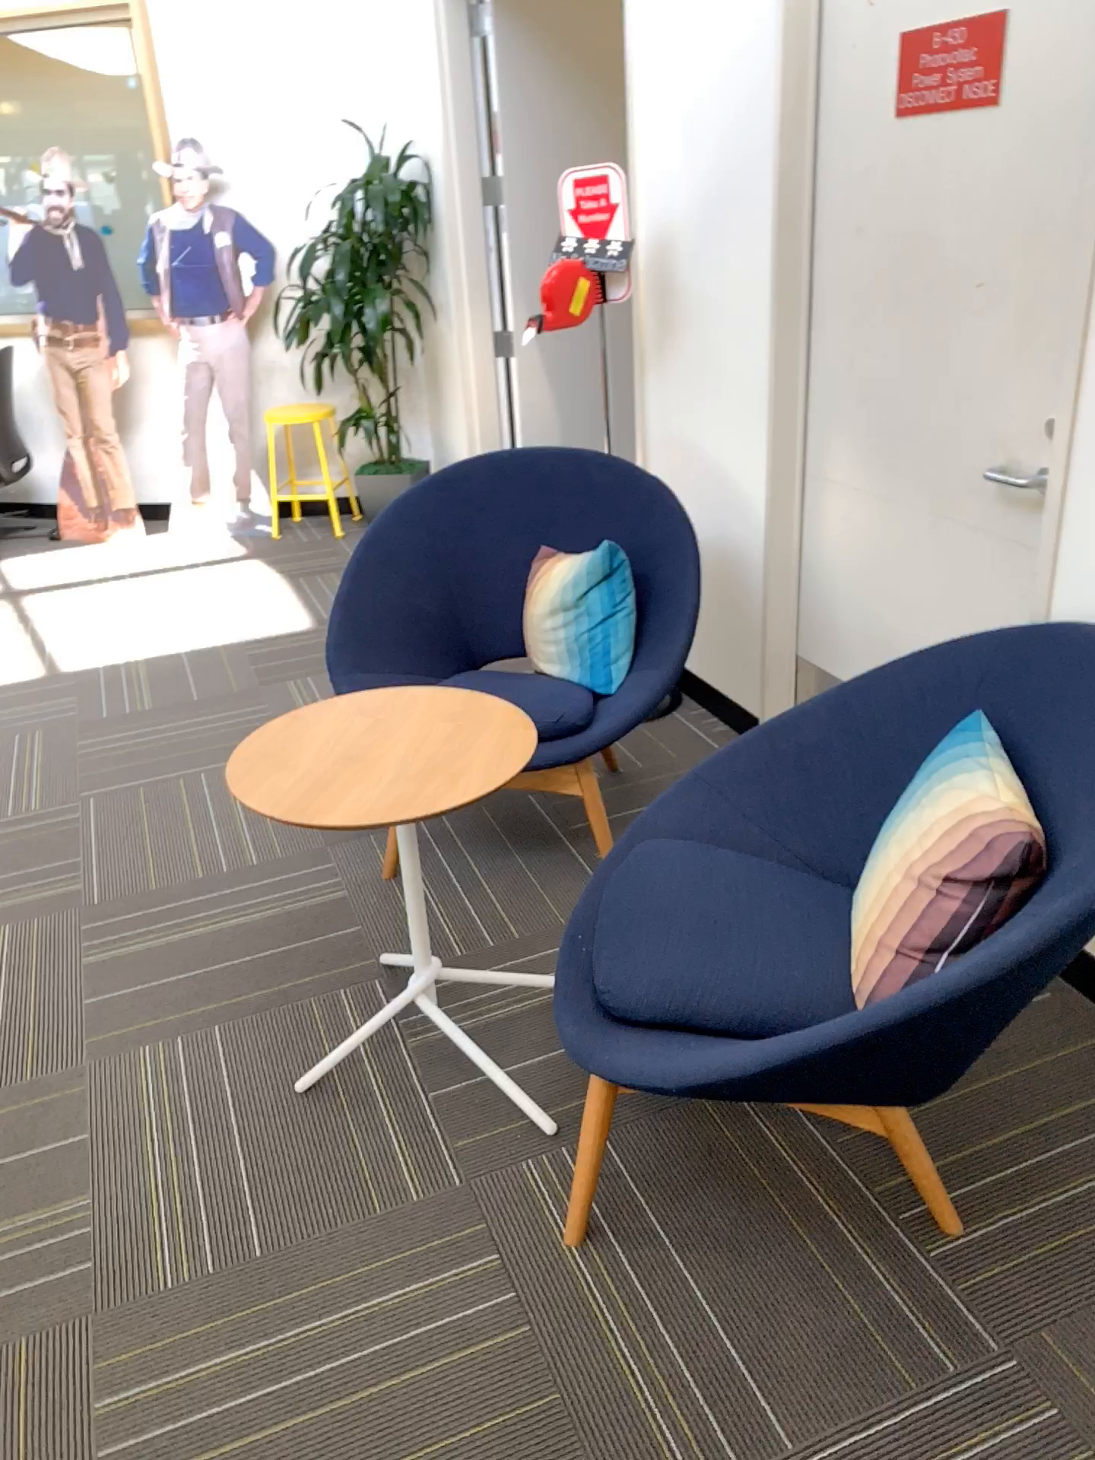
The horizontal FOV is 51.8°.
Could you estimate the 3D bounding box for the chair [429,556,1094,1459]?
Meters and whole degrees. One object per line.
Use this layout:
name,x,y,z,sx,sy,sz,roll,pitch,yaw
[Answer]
chair,0.484,0.329,1.773,0.981,0.945,0.834,6,27,19

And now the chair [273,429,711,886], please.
chair,-0.057,-0.241,2.812,0.791,0.835,0.844,4,27,17
